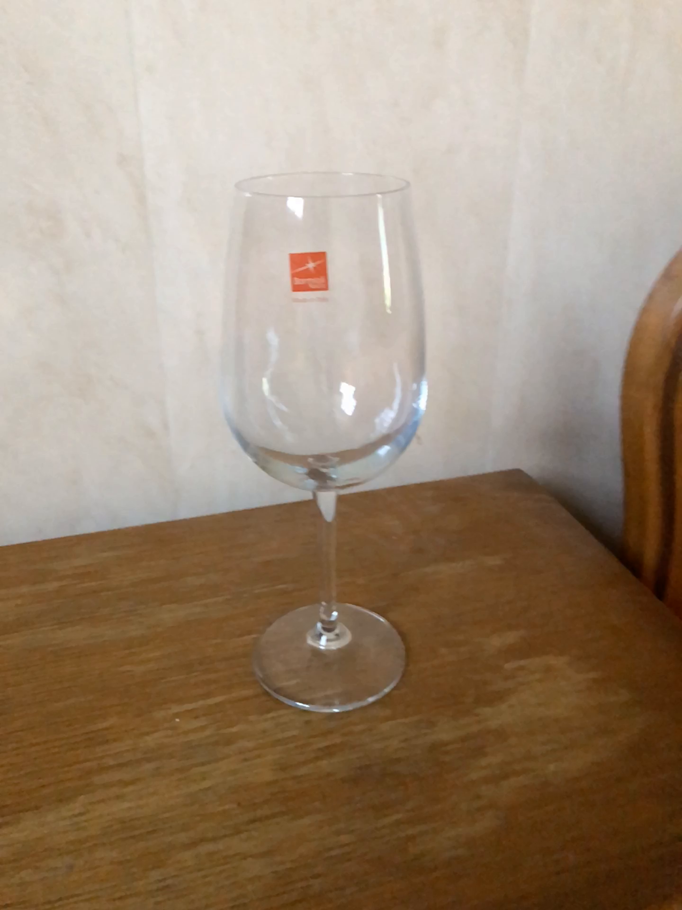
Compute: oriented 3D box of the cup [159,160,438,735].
[{"bbox_3d":[-0.010,-0.003,0.335,0.090,0.229,0.101,3,25,6],"label":"cup"}]
